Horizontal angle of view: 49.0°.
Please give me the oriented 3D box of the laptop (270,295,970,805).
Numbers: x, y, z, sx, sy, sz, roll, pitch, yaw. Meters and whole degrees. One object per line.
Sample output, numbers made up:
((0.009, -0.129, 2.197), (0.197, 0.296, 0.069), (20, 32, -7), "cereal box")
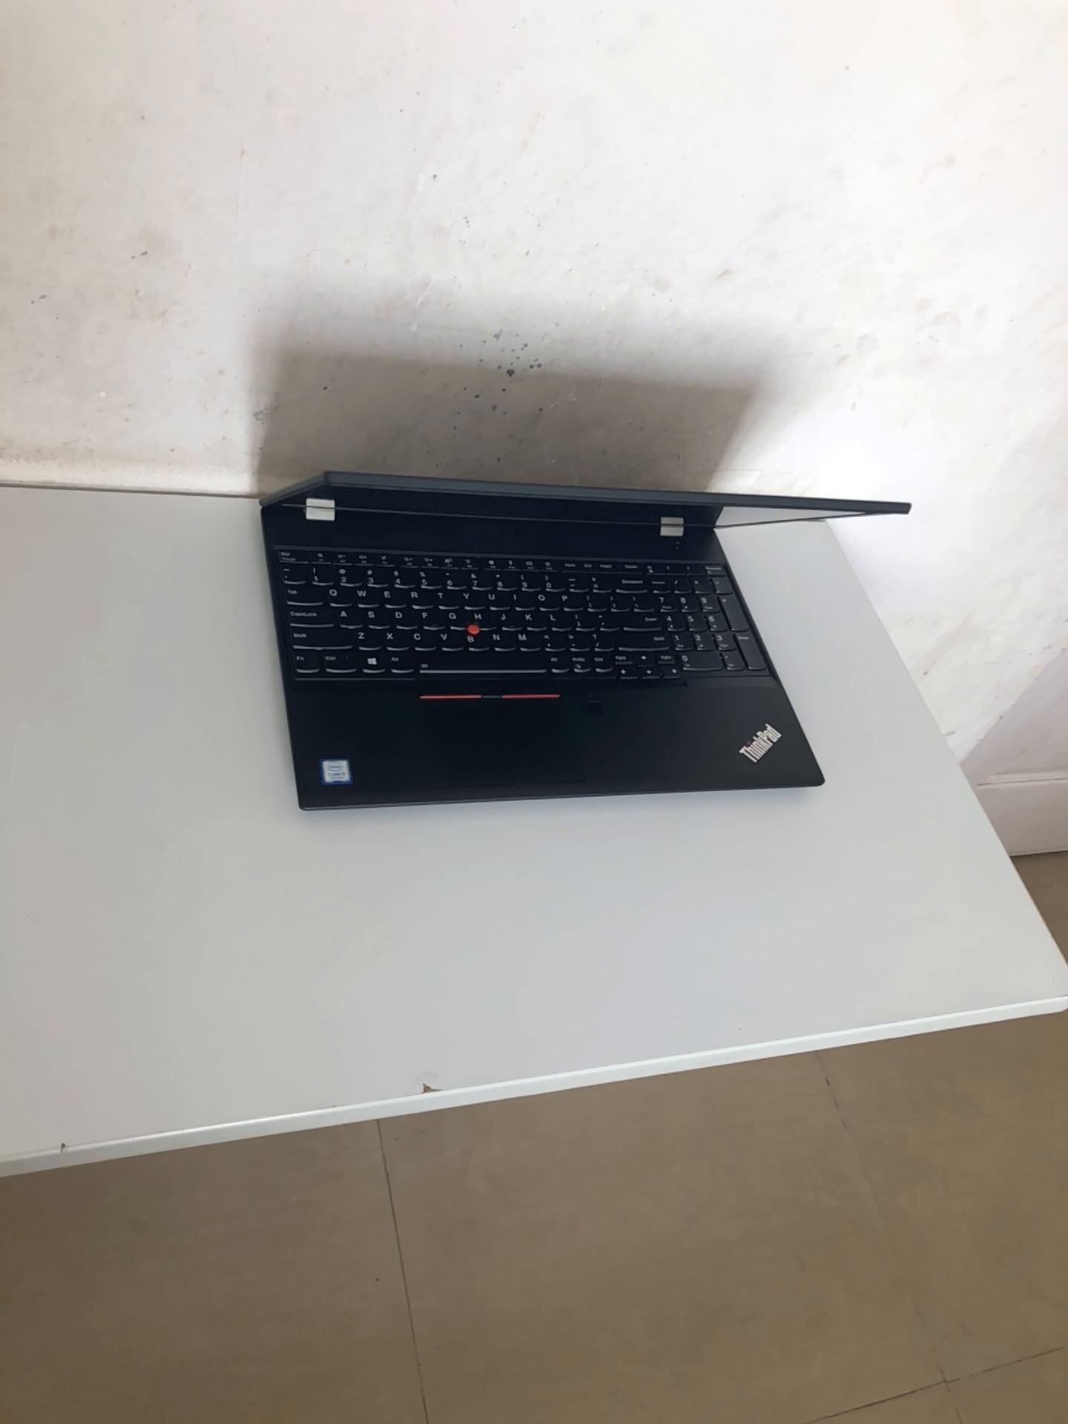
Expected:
((0.032, -0.096, 0.732), (0.348, 0.173, 0.234), (-1, 53, -19), "laptop")
